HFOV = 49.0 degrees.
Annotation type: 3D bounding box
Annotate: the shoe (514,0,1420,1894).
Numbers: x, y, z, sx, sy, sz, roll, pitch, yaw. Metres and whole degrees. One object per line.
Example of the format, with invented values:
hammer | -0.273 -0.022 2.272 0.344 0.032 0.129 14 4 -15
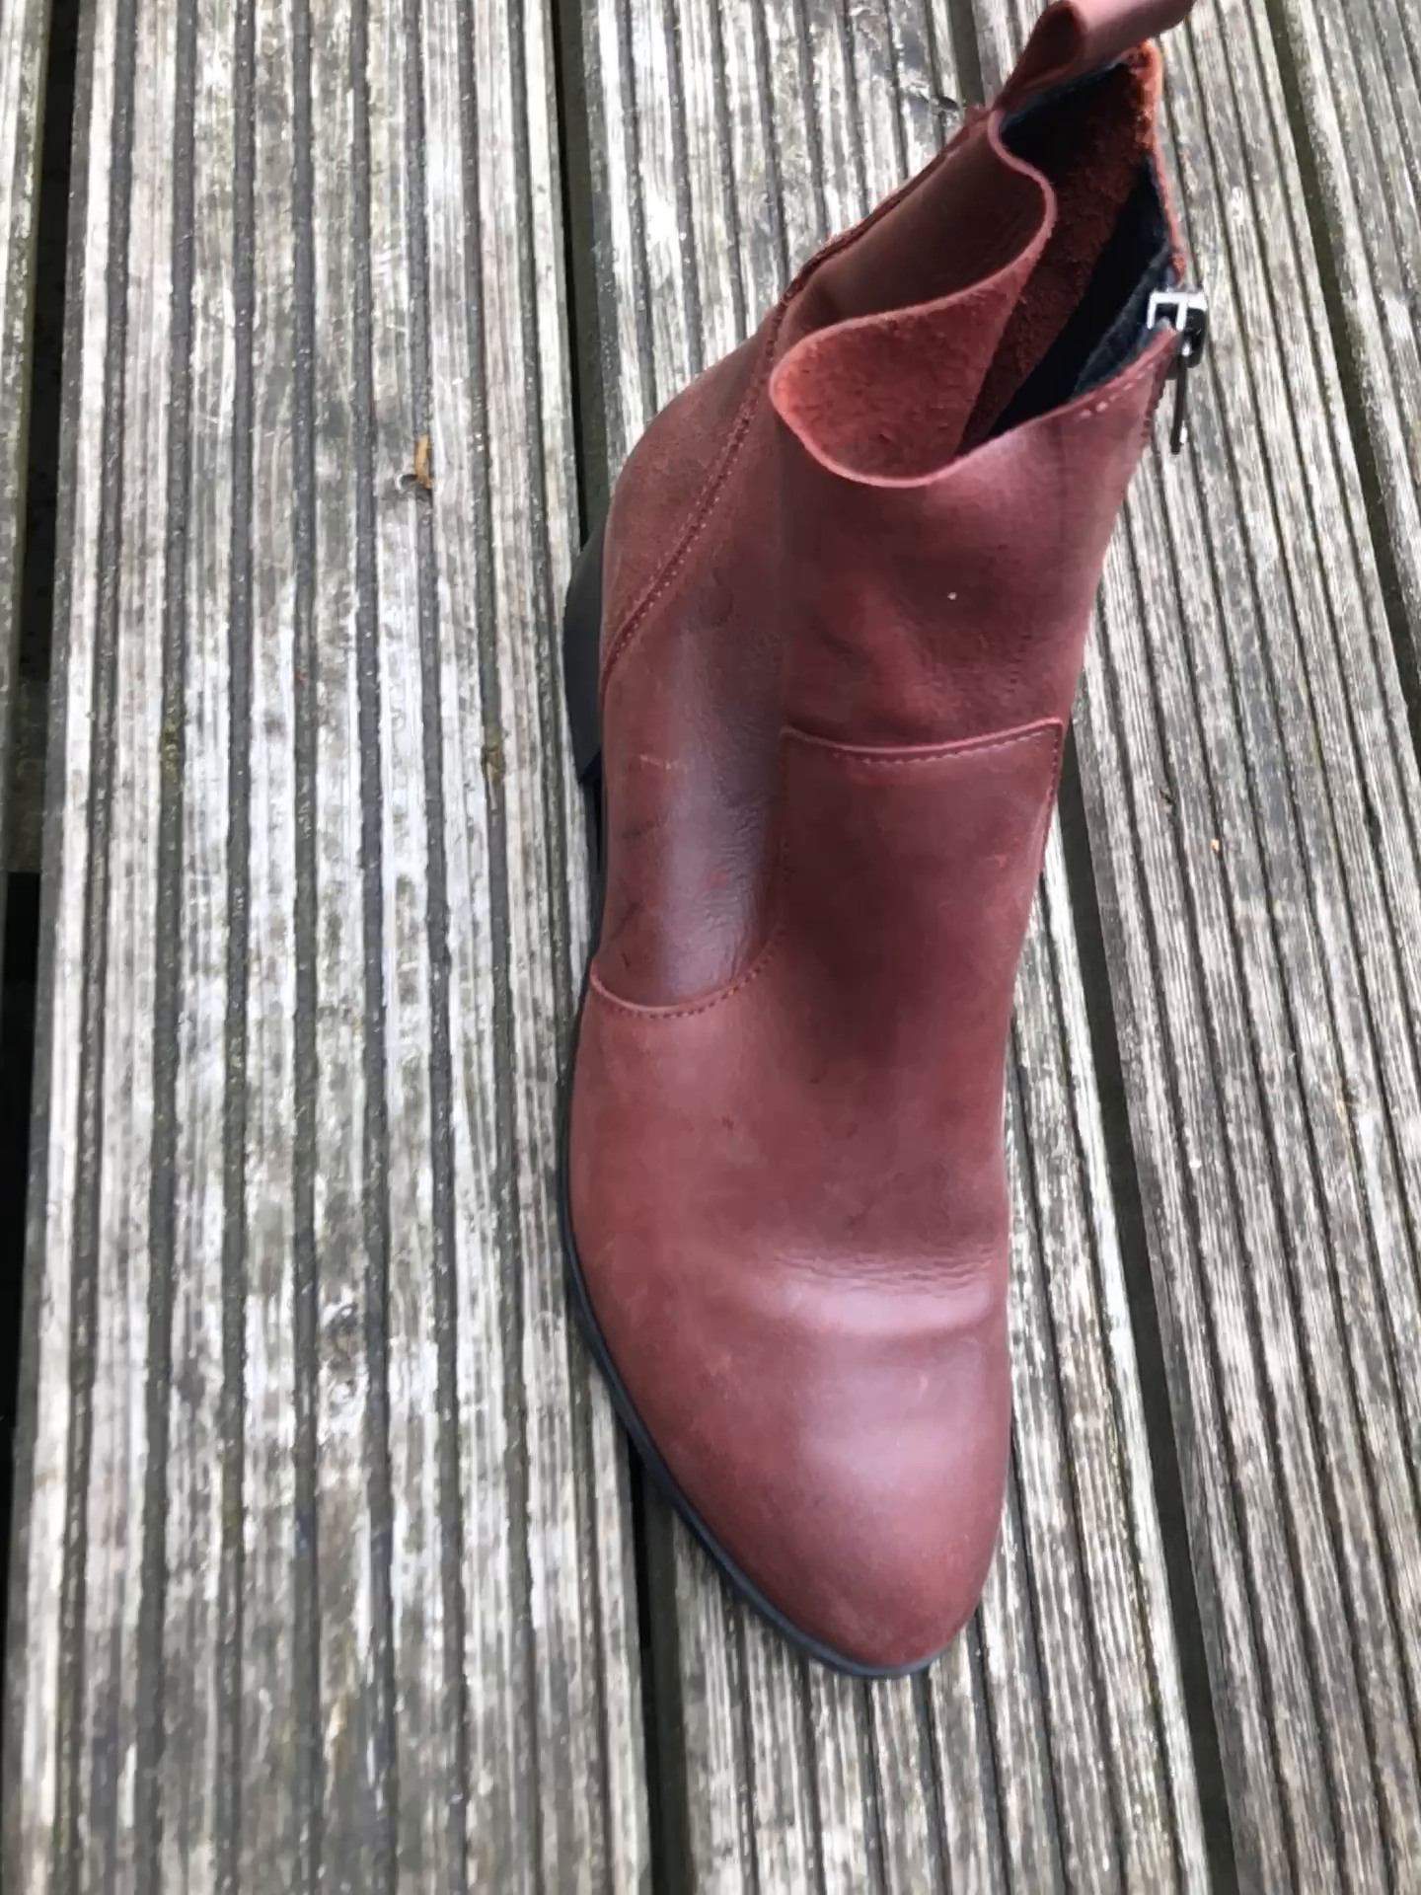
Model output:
shoe | 0.034 -0.010 0.322 0.090 0.239 0.341 2 74 -19
